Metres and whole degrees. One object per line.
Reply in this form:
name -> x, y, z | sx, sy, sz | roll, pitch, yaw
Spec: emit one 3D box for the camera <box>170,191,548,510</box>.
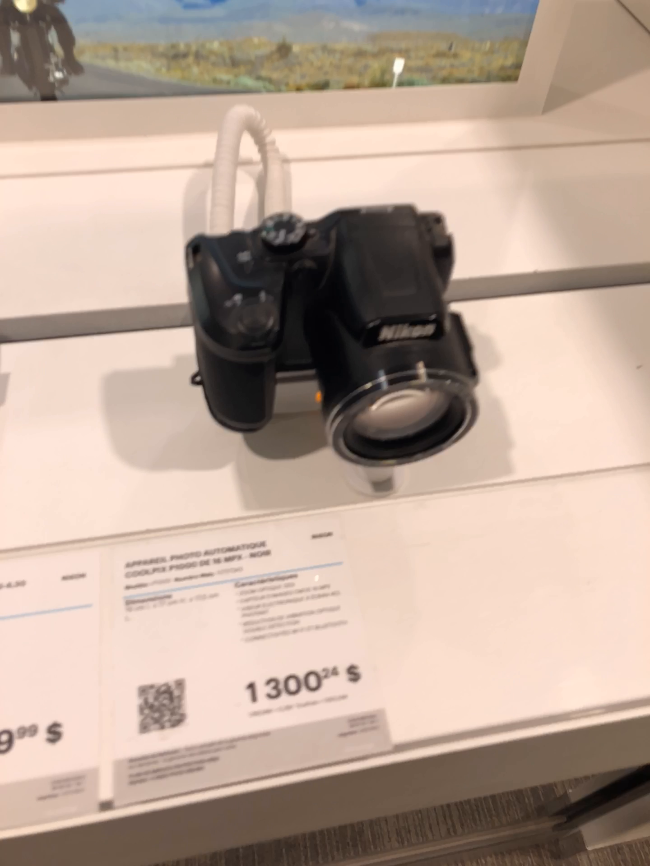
camera -> 0.006, -0.035, 0.280 | 0.117, 0.067, 0.092 | -8, 53, -10
